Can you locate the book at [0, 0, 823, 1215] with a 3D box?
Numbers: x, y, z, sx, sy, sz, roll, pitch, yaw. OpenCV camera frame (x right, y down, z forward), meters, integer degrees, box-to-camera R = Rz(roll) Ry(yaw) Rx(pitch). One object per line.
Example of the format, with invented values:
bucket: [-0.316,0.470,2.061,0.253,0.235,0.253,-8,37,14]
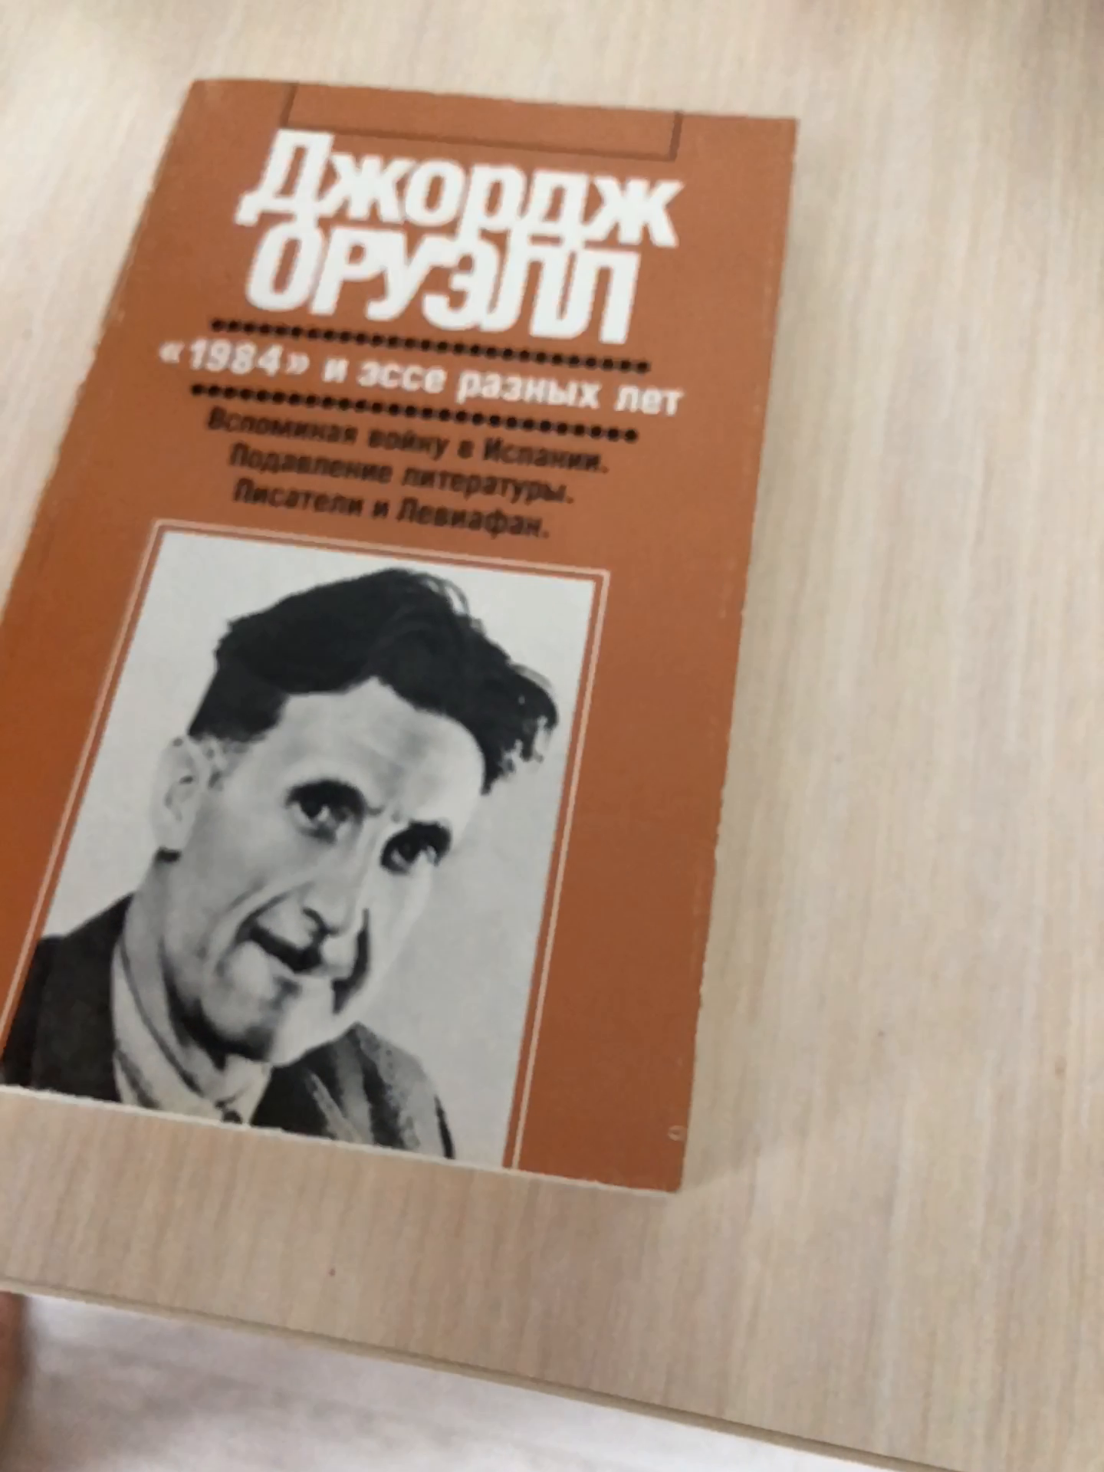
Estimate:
book: [-0.027,-0.037,0.222,0.130,0.040,0.211,6,68,6]
